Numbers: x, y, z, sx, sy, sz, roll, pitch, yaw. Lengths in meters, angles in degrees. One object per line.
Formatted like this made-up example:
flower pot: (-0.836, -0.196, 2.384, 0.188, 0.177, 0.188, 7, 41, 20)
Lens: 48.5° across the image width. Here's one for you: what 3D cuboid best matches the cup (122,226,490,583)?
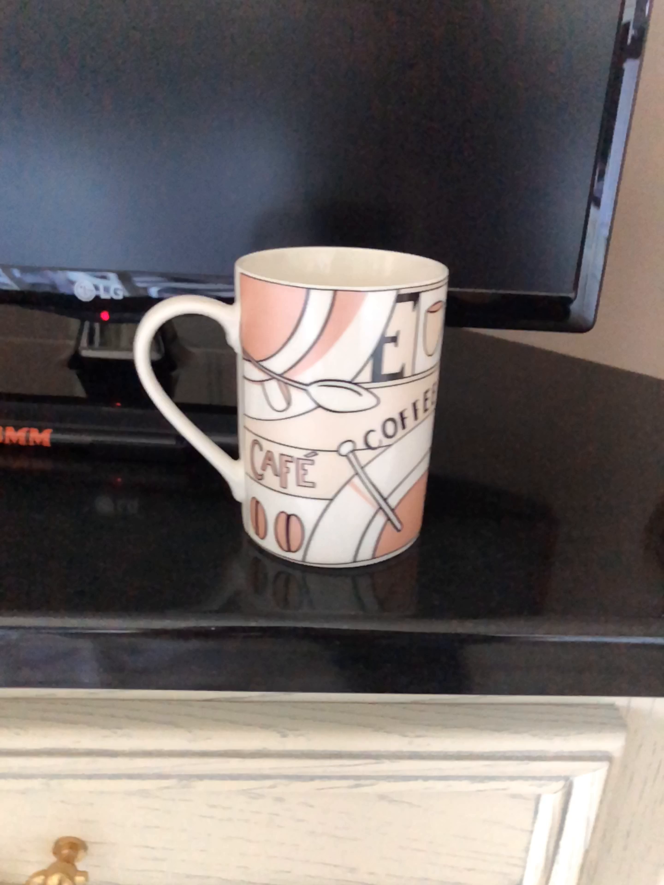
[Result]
cup: (-0.013, -0.017, 0.273, 0.110, 0.109, 0.070, -2, 24, -9)
